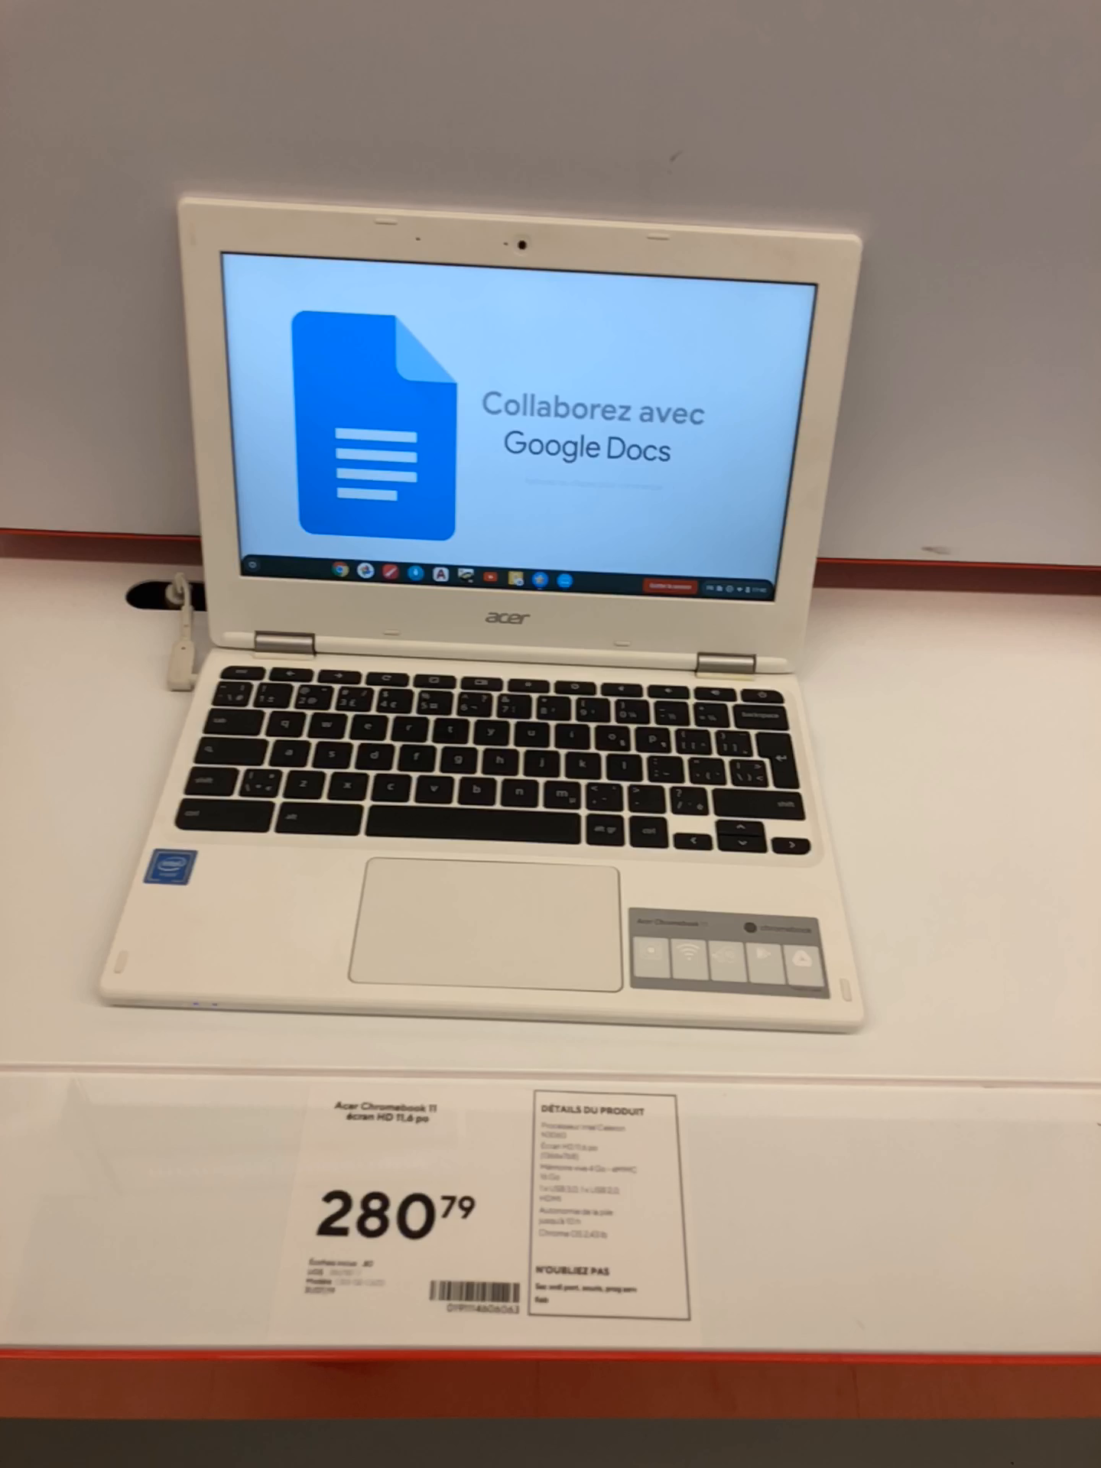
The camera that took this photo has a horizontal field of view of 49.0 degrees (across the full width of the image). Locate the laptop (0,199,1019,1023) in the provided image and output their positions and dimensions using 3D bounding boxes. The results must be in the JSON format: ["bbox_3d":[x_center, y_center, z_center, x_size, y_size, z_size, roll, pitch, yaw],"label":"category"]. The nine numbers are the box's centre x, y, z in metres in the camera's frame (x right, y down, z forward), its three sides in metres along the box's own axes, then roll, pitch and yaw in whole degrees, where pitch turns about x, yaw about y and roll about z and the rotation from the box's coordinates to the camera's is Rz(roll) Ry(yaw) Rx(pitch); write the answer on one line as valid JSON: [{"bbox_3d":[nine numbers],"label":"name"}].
[{"bbox_3d":[-0.020,-0.056,0.474,0.282,0.188,0.260,2,45,-1],"label":"laptop"}]
